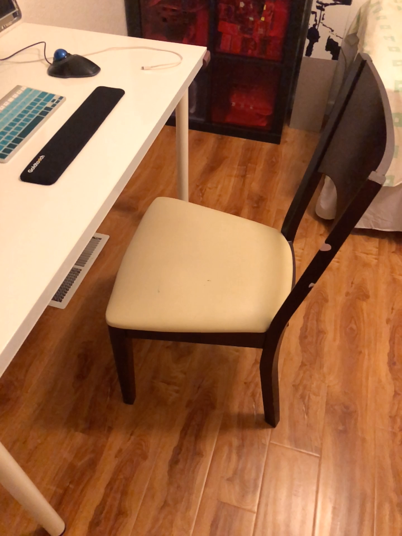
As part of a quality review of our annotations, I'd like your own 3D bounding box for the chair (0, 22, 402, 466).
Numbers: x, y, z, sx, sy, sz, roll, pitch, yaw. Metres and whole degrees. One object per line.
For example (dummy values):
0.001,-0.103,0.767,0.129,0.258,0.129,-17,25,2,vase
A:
0.049,-0.023,1.126,0.660,0.885,0.573,10,47,9,chair
